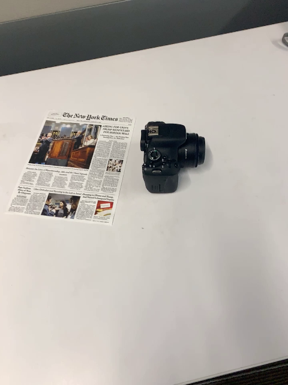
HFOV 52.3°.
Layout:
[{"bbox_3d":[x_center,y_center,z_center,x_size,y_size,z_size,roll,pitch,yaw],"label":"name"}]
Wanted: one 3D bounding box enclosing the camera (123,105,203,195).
[{"bbox_3d":[0.038,-0.085,0.602,0.143,0.100,0.146,-2,62,4],"label":"camera"}]
